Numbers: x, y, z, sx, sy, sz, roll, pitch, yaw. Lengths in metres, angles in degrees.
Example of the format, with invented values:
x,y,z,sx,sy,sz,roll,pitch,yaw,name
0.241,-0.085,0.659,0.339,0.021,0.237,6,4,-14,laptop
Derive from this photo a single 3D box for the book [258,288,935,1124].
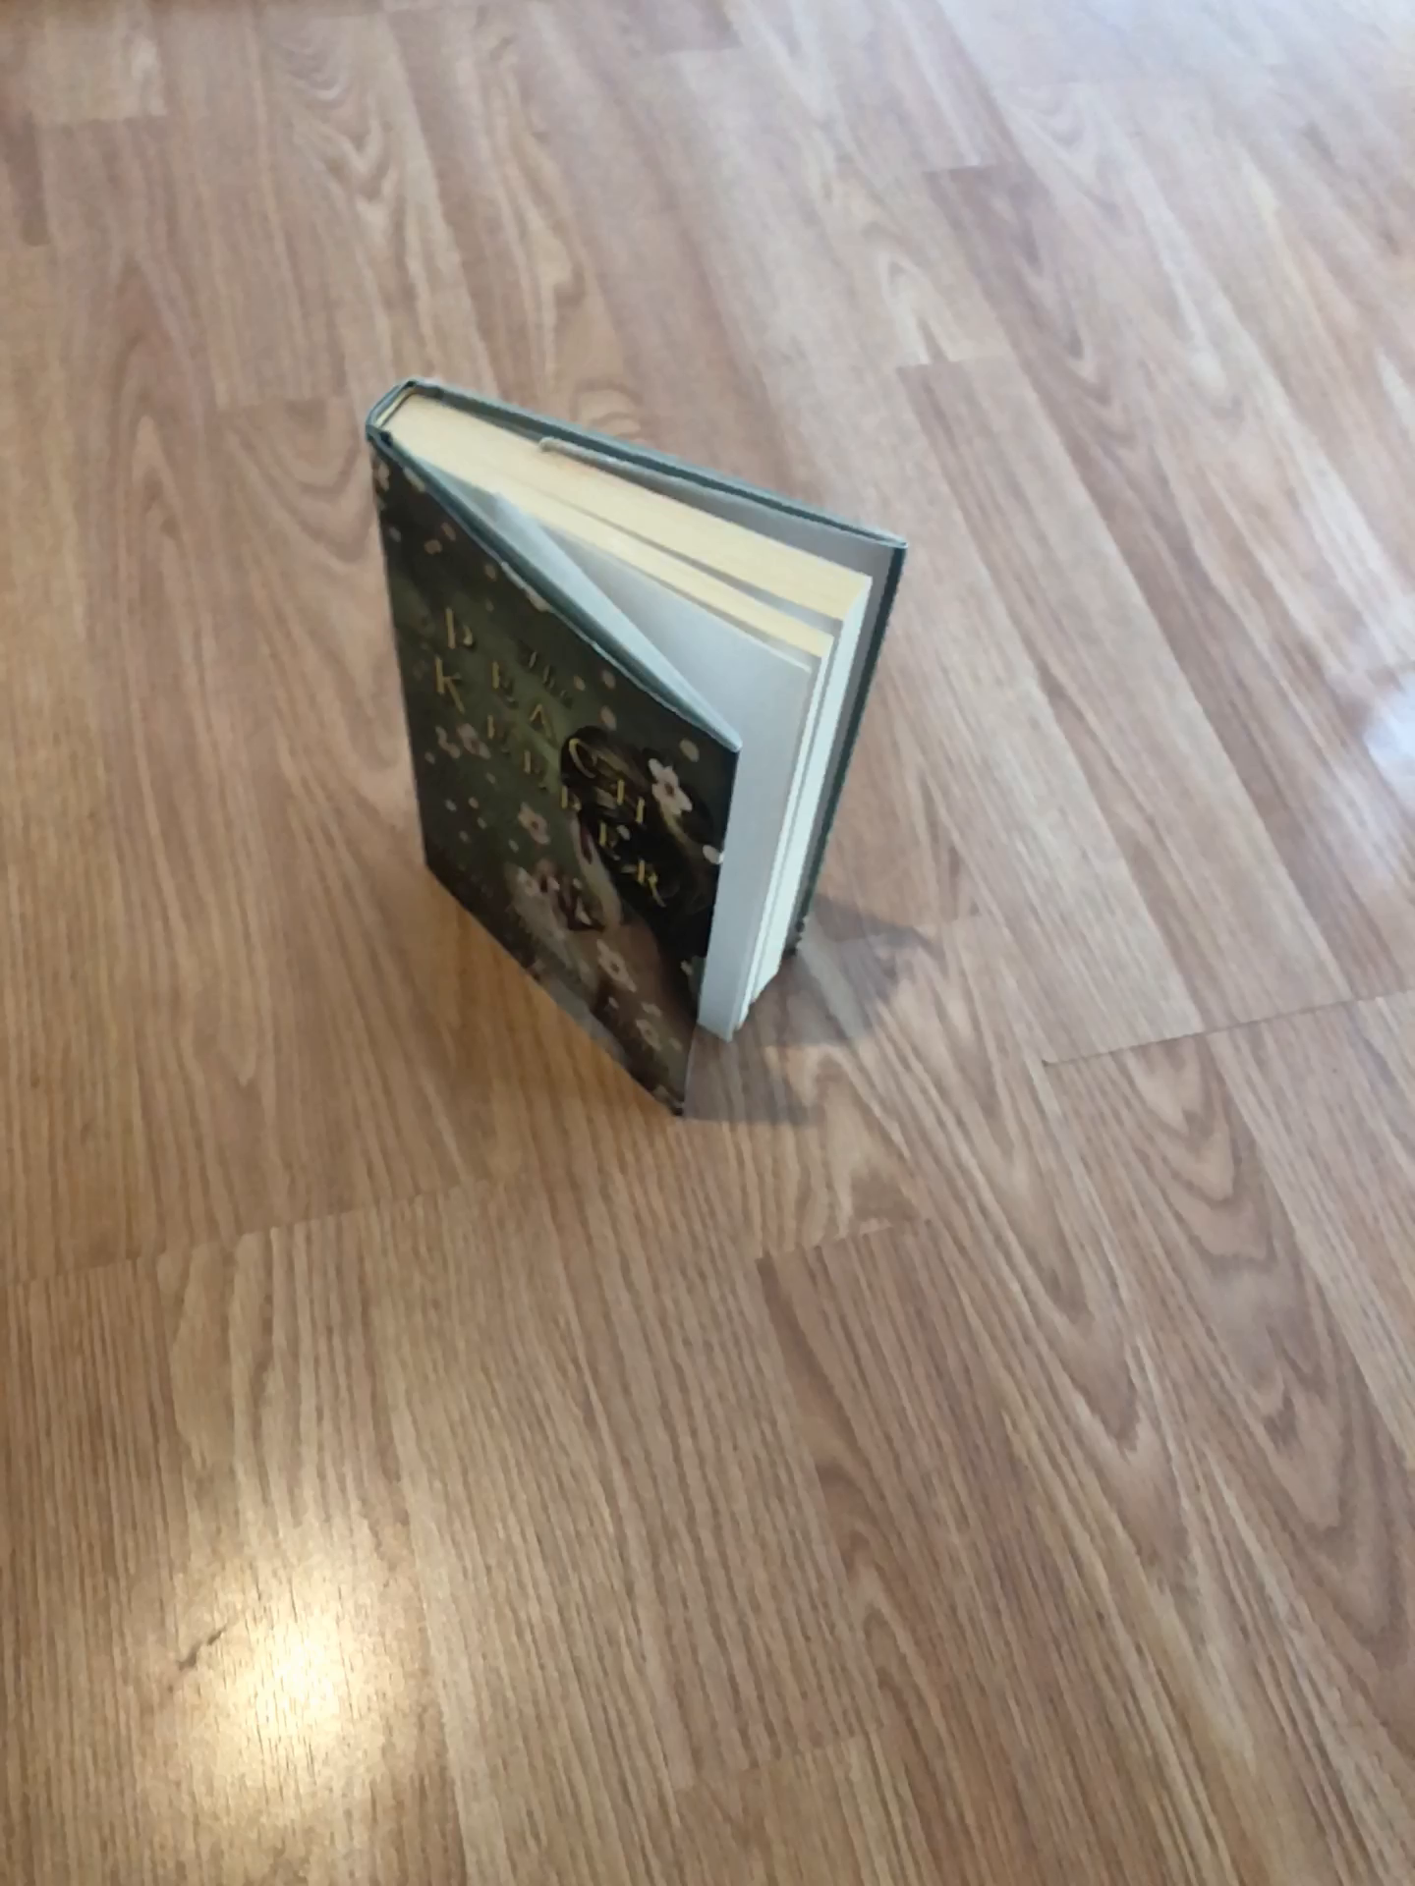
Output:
x,y,z,sx,sy,sz,roll,pitch,yaw,name
-0.036,-0.057,0.487,0.150,0.220,0.080,32,63,12,book
